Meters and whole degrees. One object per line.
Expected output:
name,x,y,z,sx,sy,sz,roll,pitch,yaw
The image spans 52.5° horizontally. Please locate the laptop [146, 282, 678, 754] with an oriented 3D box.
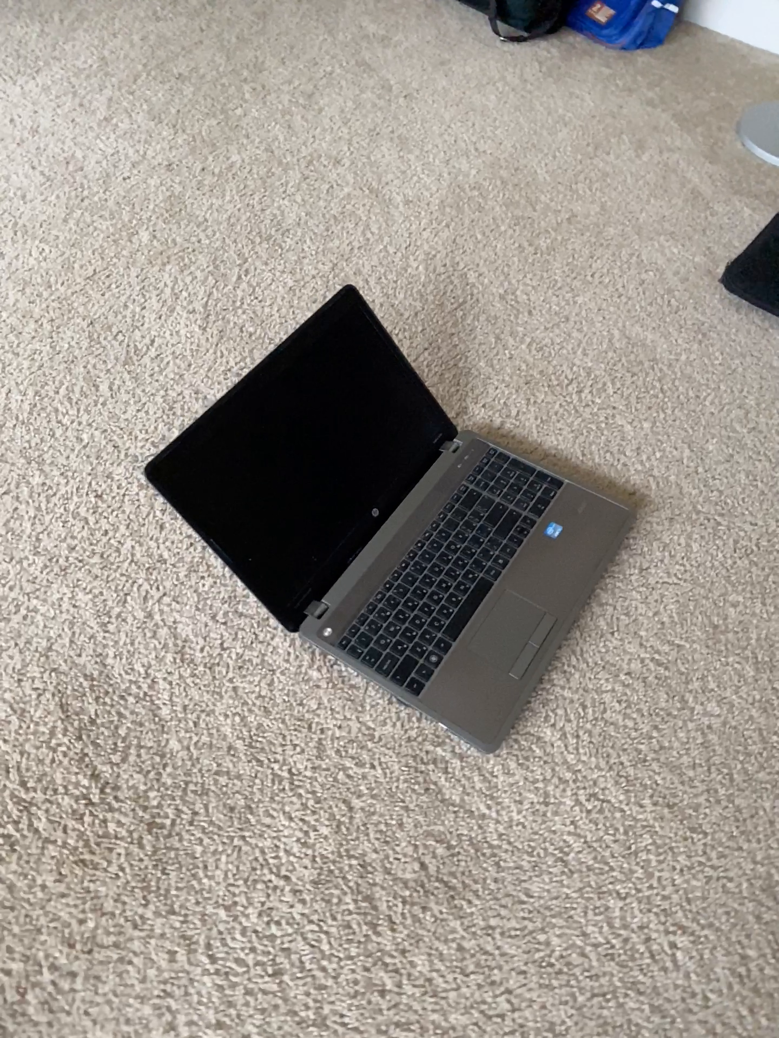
laptop,0.030,-0.031,0.909,0.435,0.162,0.375,29,58,19
